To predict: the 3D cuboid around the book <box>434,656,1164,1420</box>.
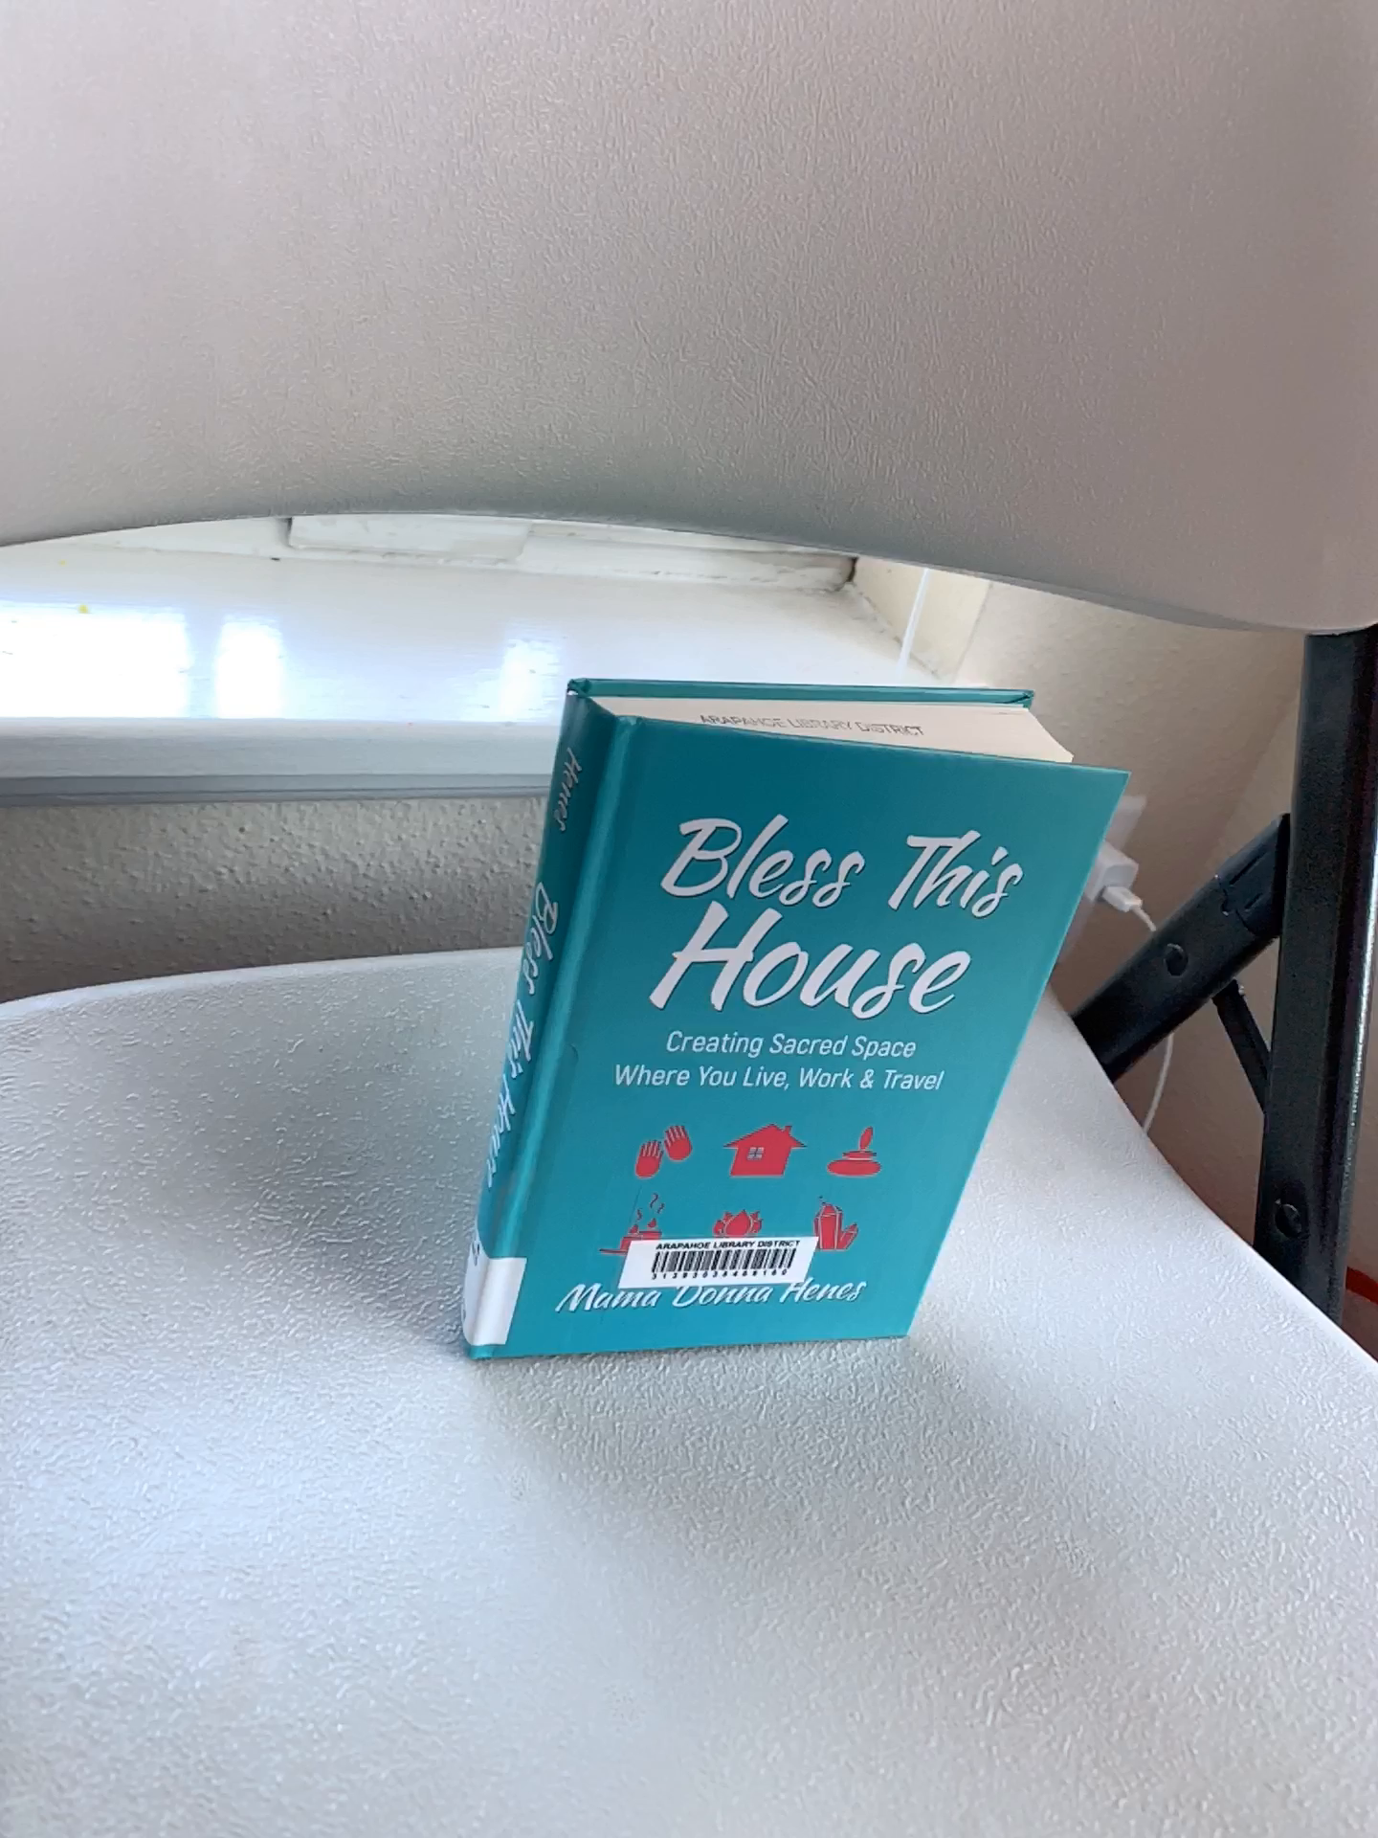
[{"bbox_3d":[0.020,0.032,0.361,0.142,0.181,0.051,-2,31,-26],"label":"book"}]
